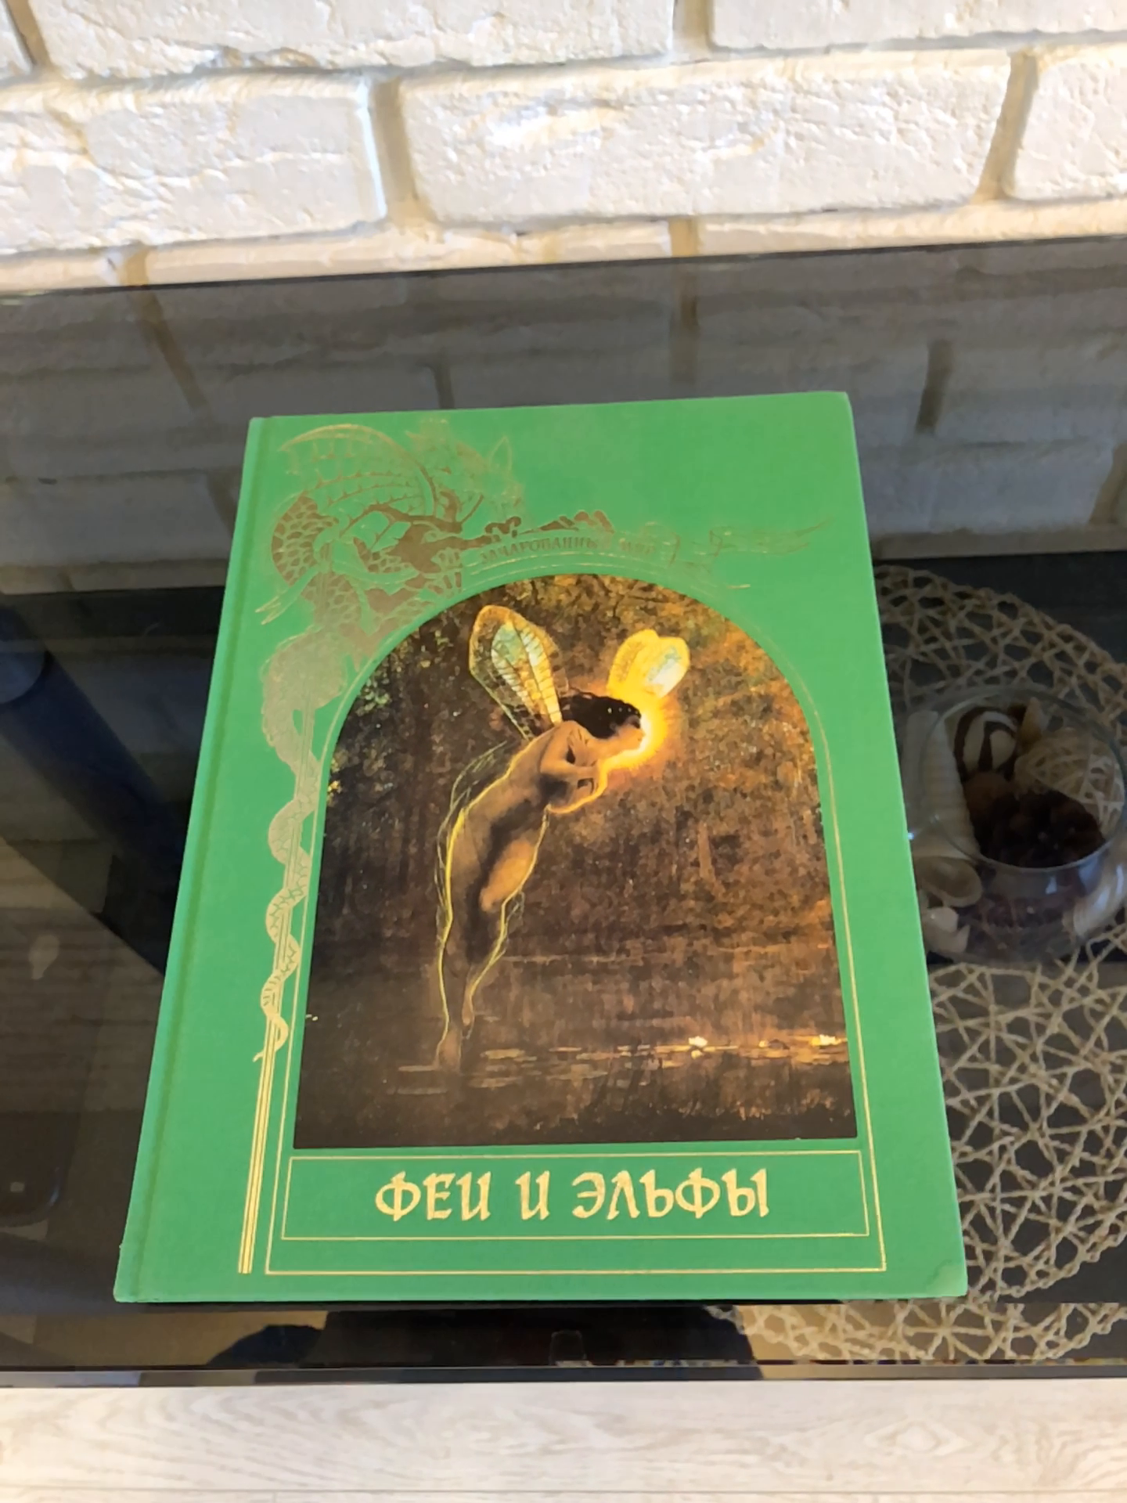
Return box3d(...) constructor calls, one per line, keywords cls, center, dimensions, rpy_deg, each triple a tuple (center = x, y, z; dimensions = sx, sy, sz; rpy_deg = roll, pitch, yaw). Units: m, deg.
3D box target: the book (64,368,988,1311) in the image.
box3d(cls="book", center=(-0.008, 0.007, 0.373), dimensions=(0.217, 0.030, 0.291), rpy_deg=(-1, 61, 3))
